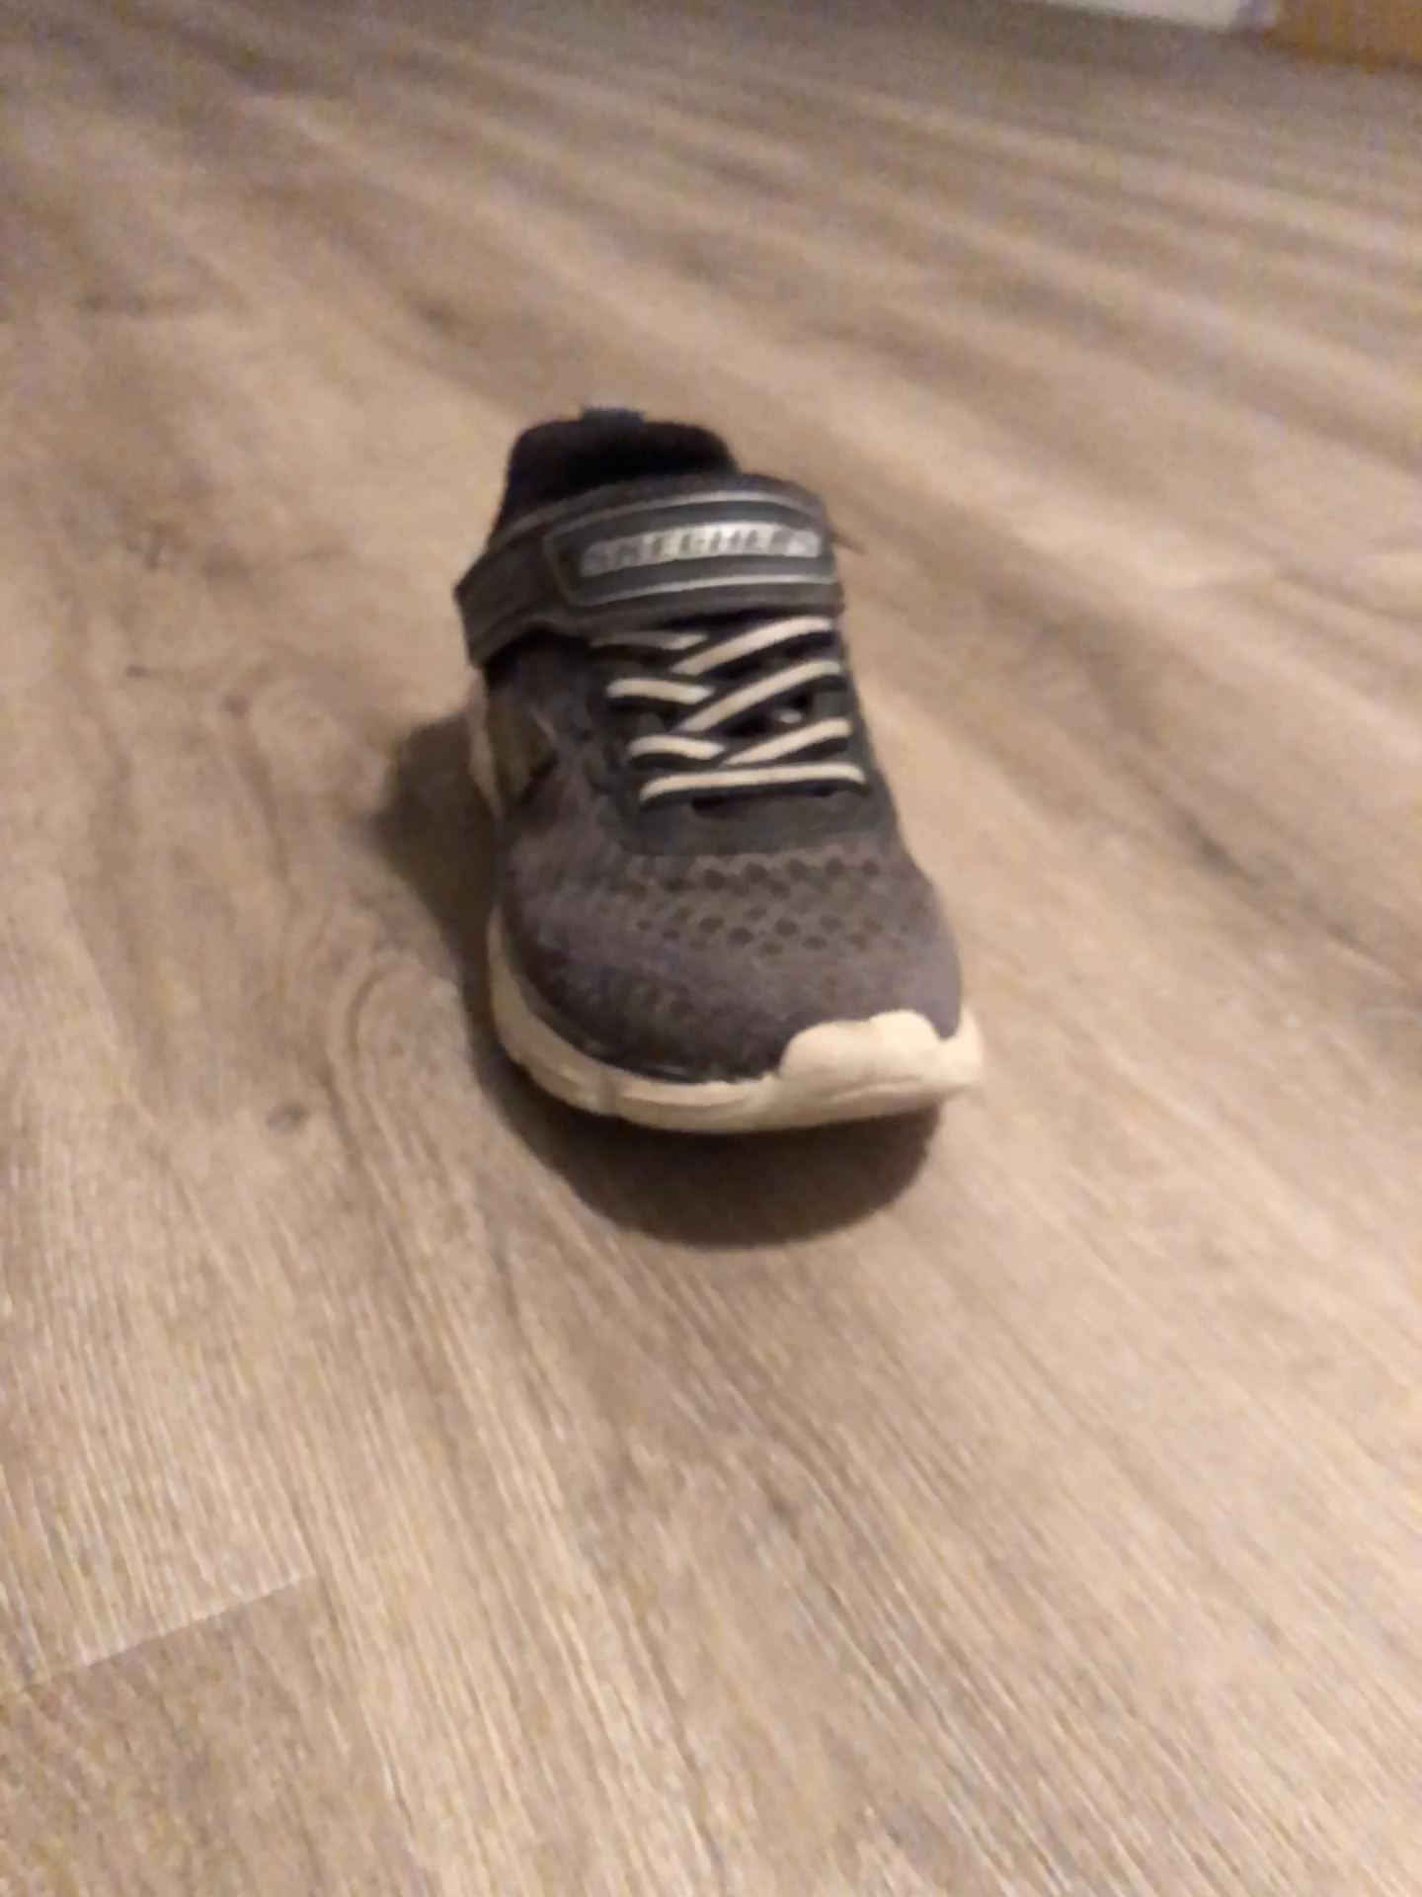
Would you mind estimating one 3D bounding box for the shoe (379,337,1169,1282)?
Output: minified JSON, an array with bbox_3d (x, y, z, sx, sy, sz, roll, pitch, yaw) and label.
[{"bbox_3d":[-0.011,-0.052,0.347,0.100,0.099,0.231,-4,34,-14],"label":"shoe"}]
